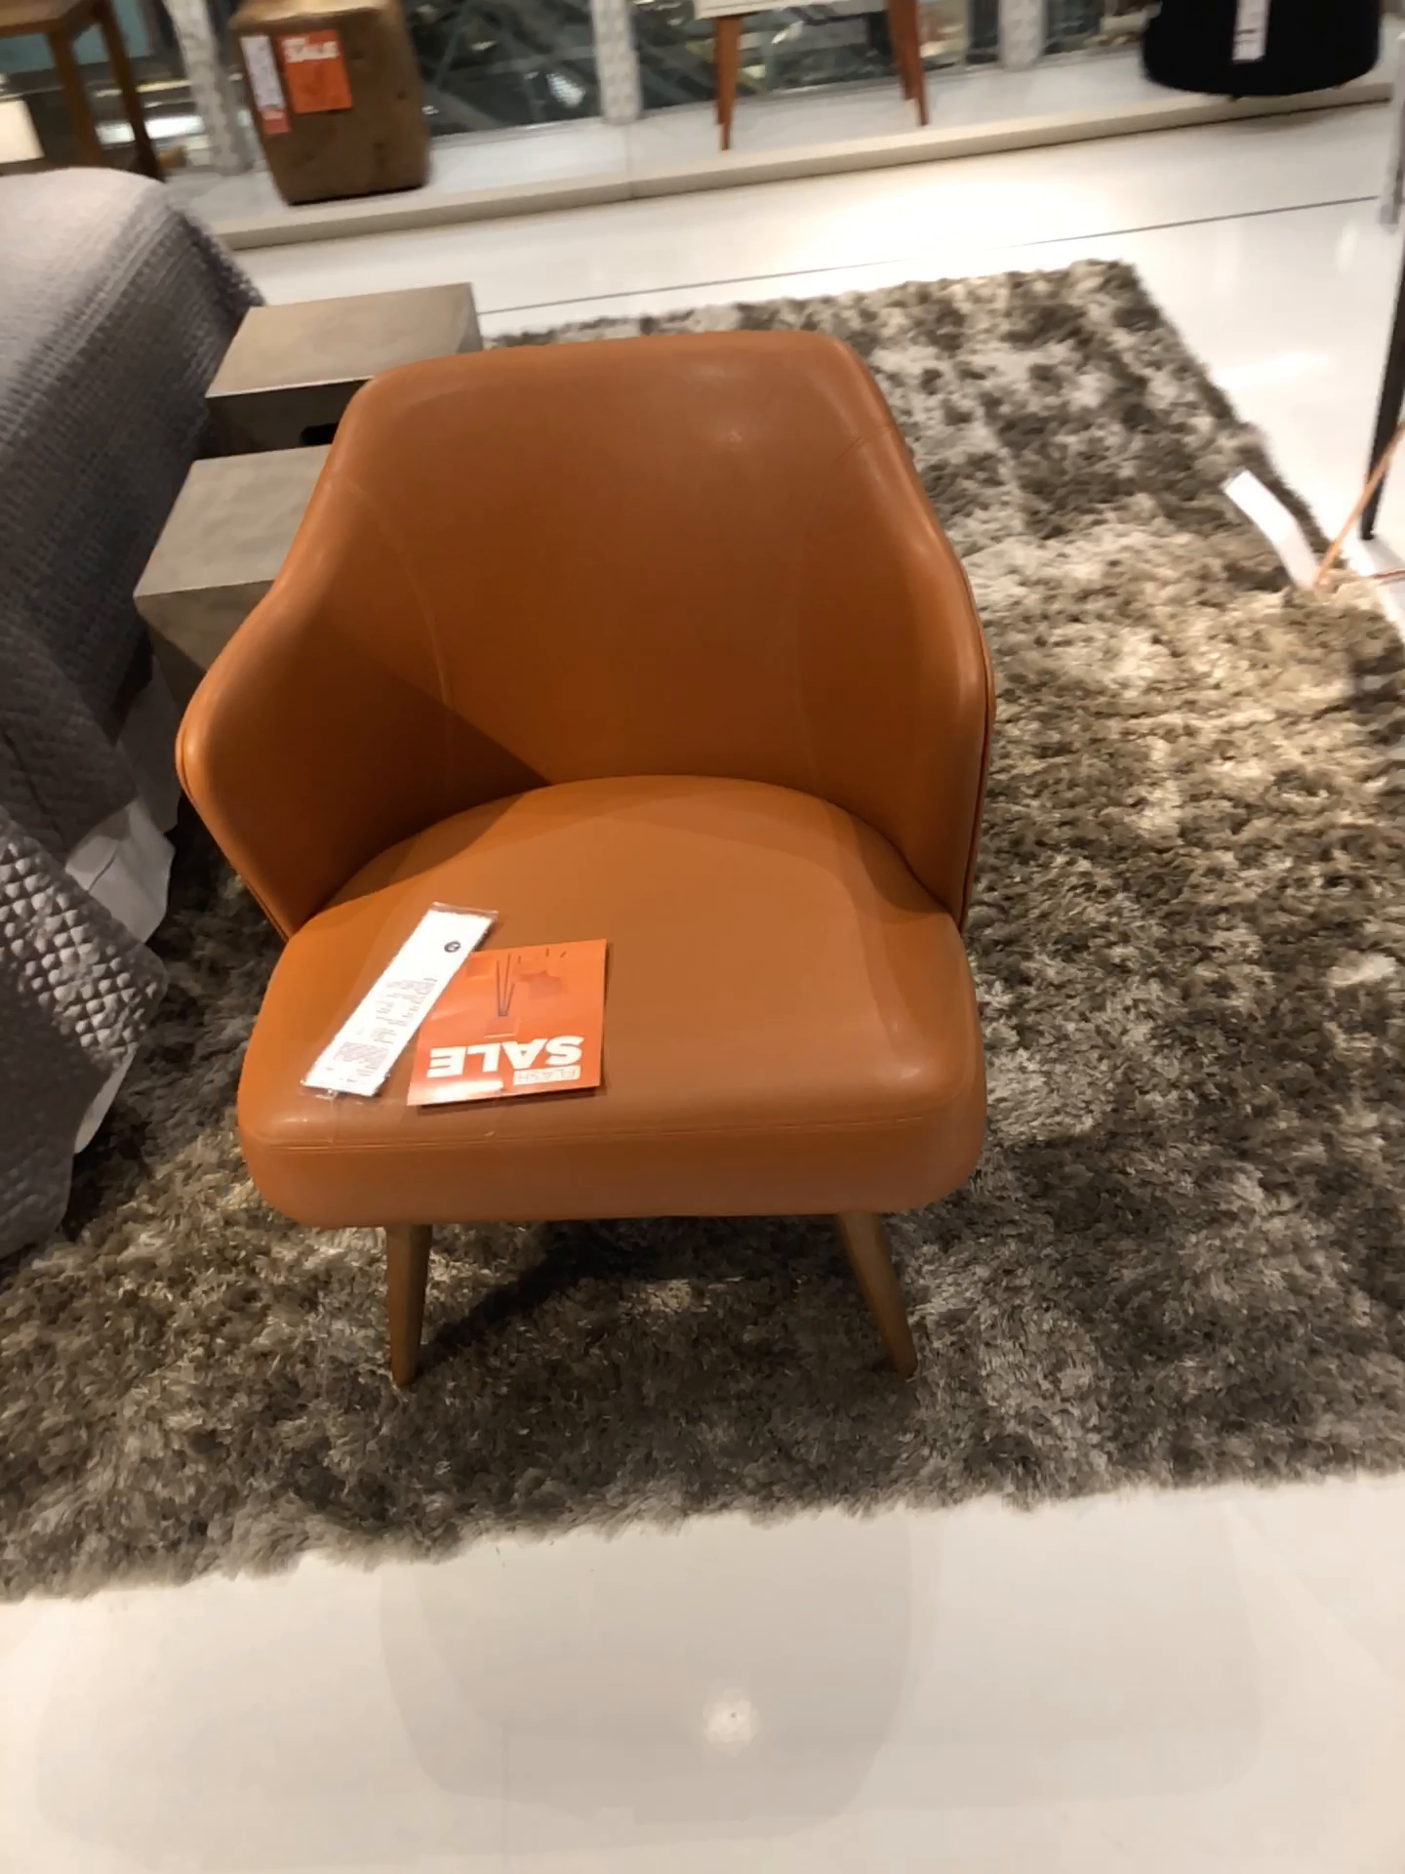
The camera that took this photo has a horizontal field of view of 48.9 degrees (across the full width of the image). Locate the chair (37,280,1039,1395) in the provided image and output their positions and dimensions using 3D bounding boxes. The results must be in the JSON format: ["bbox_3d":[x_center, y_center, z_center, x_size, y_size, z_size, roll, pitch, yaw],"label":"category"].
[{"bbox_3d":[-0.056,-0.084,1.370,0.590,0.705,0.655,-3,41,6],"label":"chair"}]
